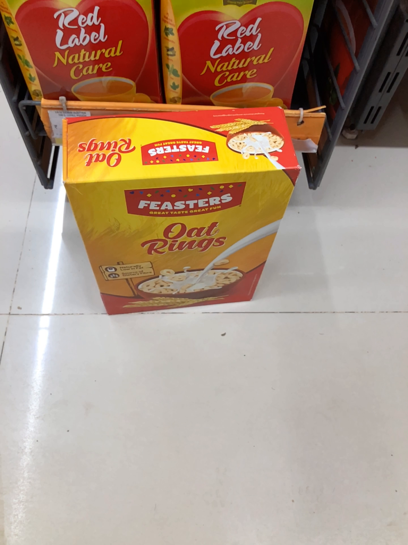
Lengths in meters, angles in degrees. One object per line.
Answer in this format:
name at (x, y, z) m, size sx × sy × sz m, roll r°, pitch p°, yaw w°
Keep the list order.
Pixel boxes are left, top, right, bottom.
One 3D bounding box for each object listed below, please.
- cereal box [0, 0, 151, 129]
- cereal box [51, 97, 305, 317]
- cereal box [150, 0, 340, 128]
cereal box at (-0.110, -0.219, 0.395) m, size 0.120 × 0.169 × 0.080 m, roll -2°, pitch 61°, yaw -6°
cereal box at (-0.027, -0.043, 0.413) m, size 0.170 × 0.219 × 0.070 m, roll -5°, pitch 62°, yaw -7°
cereal box at (0.021, -0.210, 0.381) m, size 0.120 × 0.149 × 0.080 m, roll -6°, pitch 62°, yaw -8°
